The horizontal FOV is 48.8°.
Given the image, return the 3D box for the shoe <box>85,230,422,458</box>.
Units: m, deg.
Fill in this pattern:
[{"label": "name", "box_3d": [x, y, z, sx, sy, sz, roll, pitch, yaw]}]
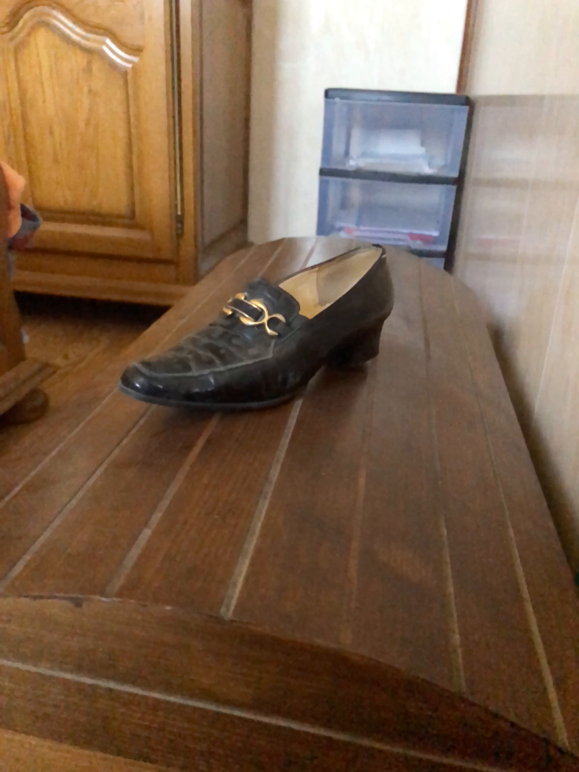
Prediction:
[{"label": "shoe", "box_3d": [-0.015, -0.047, 0.479, 0.241, 0.099, 0.090, -20, 32, -39]}]
